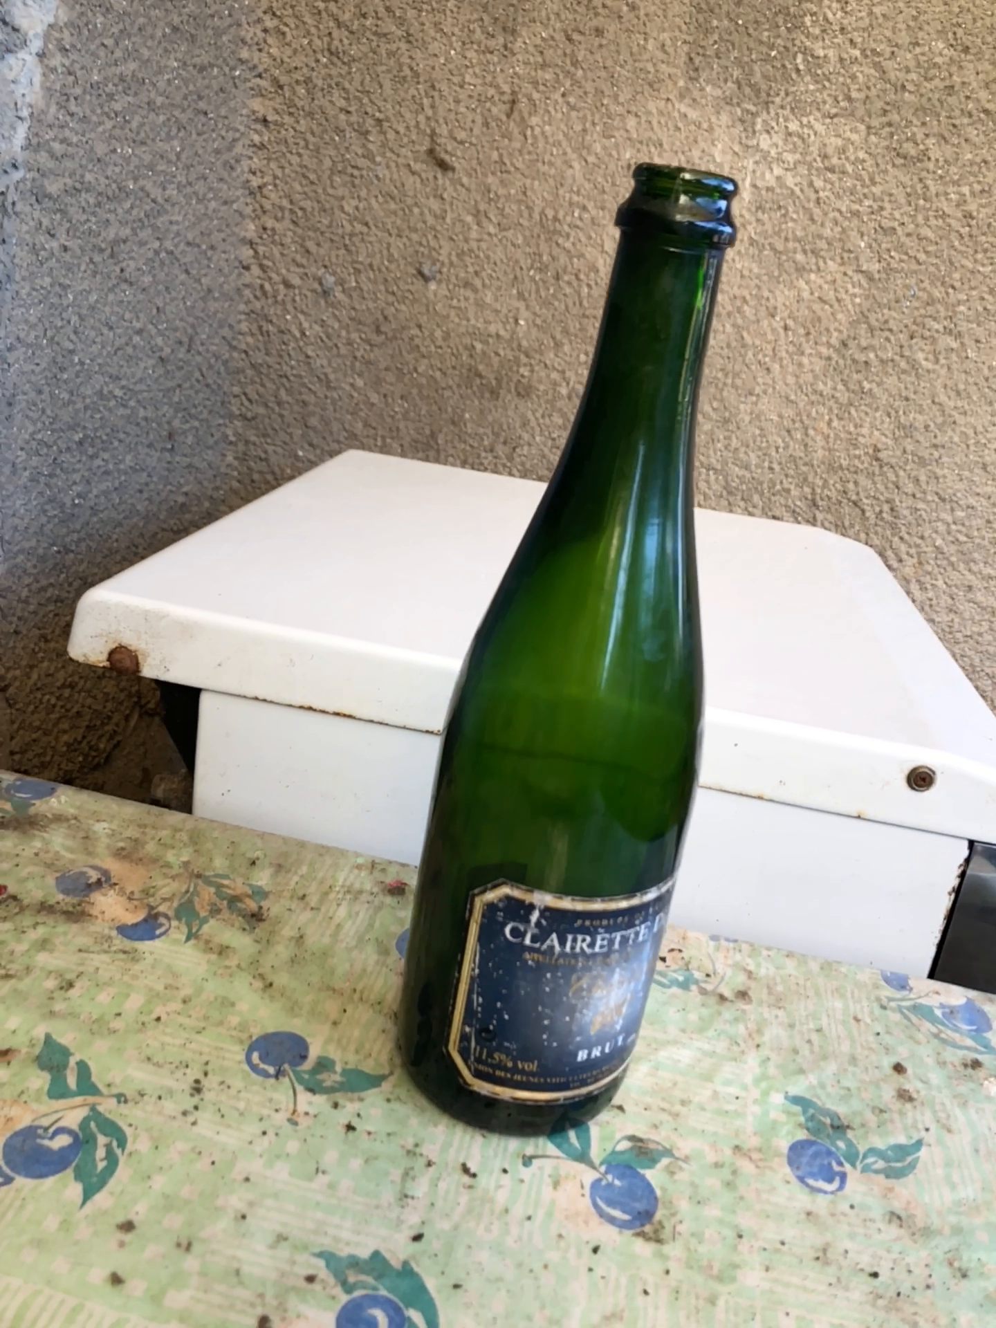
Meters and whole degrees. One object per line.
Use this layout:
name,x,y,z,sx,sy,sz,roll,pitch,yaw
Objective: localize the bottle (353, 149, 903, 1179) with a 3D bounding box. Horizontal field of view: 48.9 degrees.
bottle,0.027,0.008,0.359,0.090,0.308,0.080,-3,24,-31
